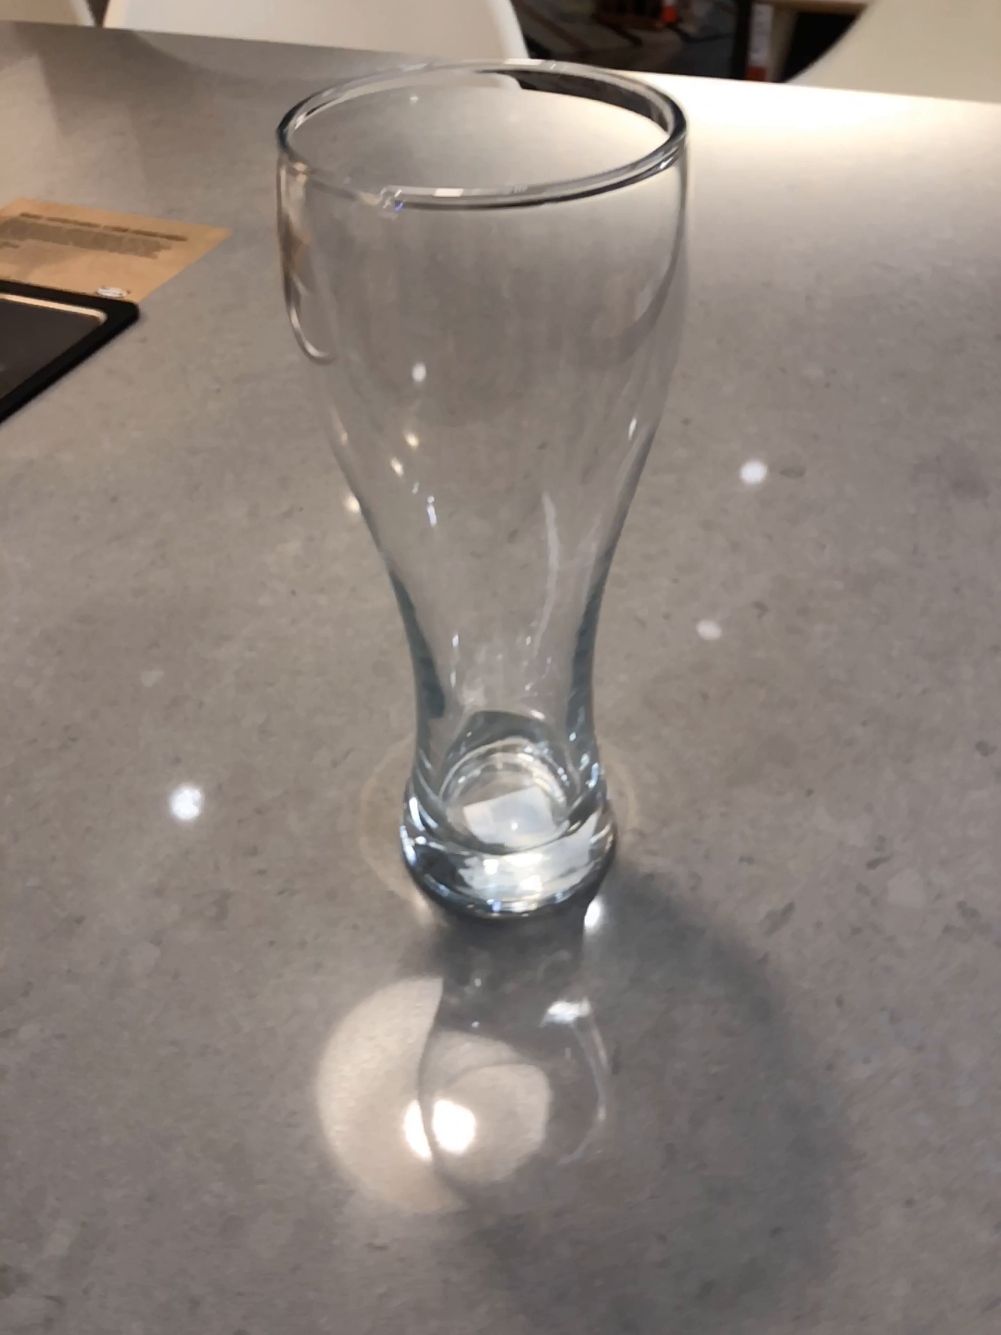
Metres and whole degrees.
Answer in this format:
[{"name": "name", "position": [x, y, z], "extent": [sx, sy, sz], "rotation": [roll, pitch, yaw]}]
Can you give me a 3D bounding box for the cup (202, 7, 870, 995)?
[{"name": "cup", "position": [0.003, -0.032, 0.293], "extent": [0.100, 0.219, 0.100], "rotation": [-1, 42, 1]}]
